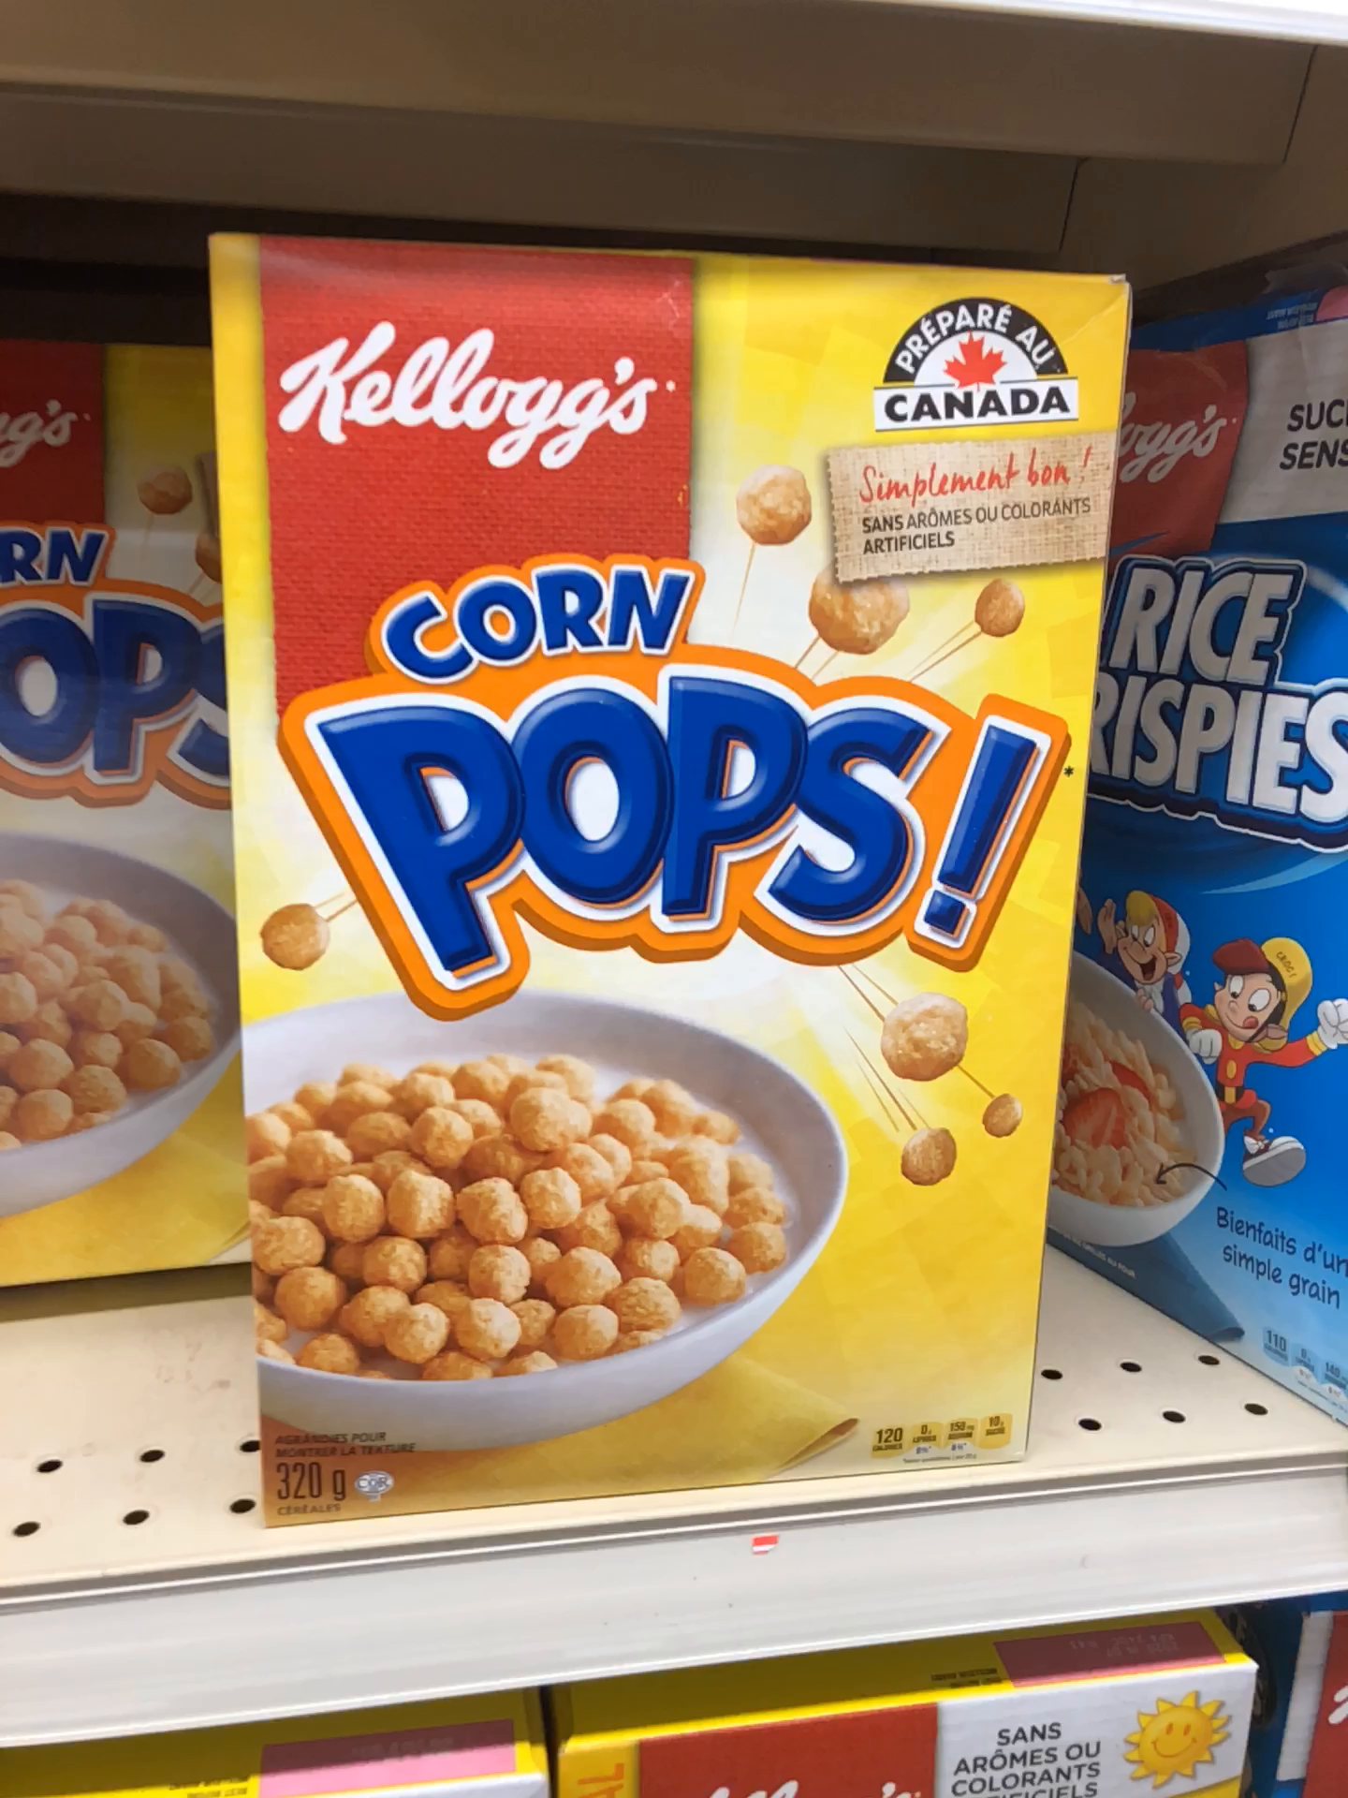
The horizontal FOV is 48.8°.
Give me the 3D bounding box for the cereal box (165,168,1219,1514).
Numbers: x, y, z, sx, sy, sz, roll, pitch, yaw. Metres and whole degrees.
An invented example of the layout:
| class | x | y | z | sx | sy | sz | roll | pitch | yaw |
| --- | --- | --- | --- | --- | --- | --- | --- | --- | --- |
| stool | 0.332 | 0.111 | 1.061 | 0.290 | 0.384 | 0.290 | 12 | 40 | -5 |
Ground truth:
| class | x | y | z | sx | sy | sz | roll | pitch | yaw |
| --- | --- | --- | --- | --- | --- | --- | --- | --- | --- |
| cereal box | 0.001 | -0.006 | 0.357 | 0.210 | 0.289 | 0.060 | -1 | 15 | -9 |
